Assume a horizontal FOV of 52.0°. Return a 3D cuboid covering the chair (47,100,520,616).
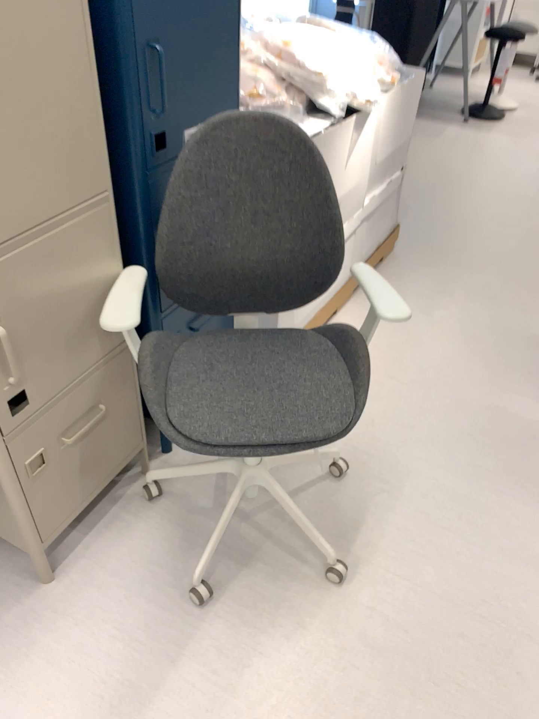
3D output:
[{"bbox_3d":[-0.030,0.010,1.324,0.650,0.996,0.673,-2,40,-7],"label":"chair"}]
